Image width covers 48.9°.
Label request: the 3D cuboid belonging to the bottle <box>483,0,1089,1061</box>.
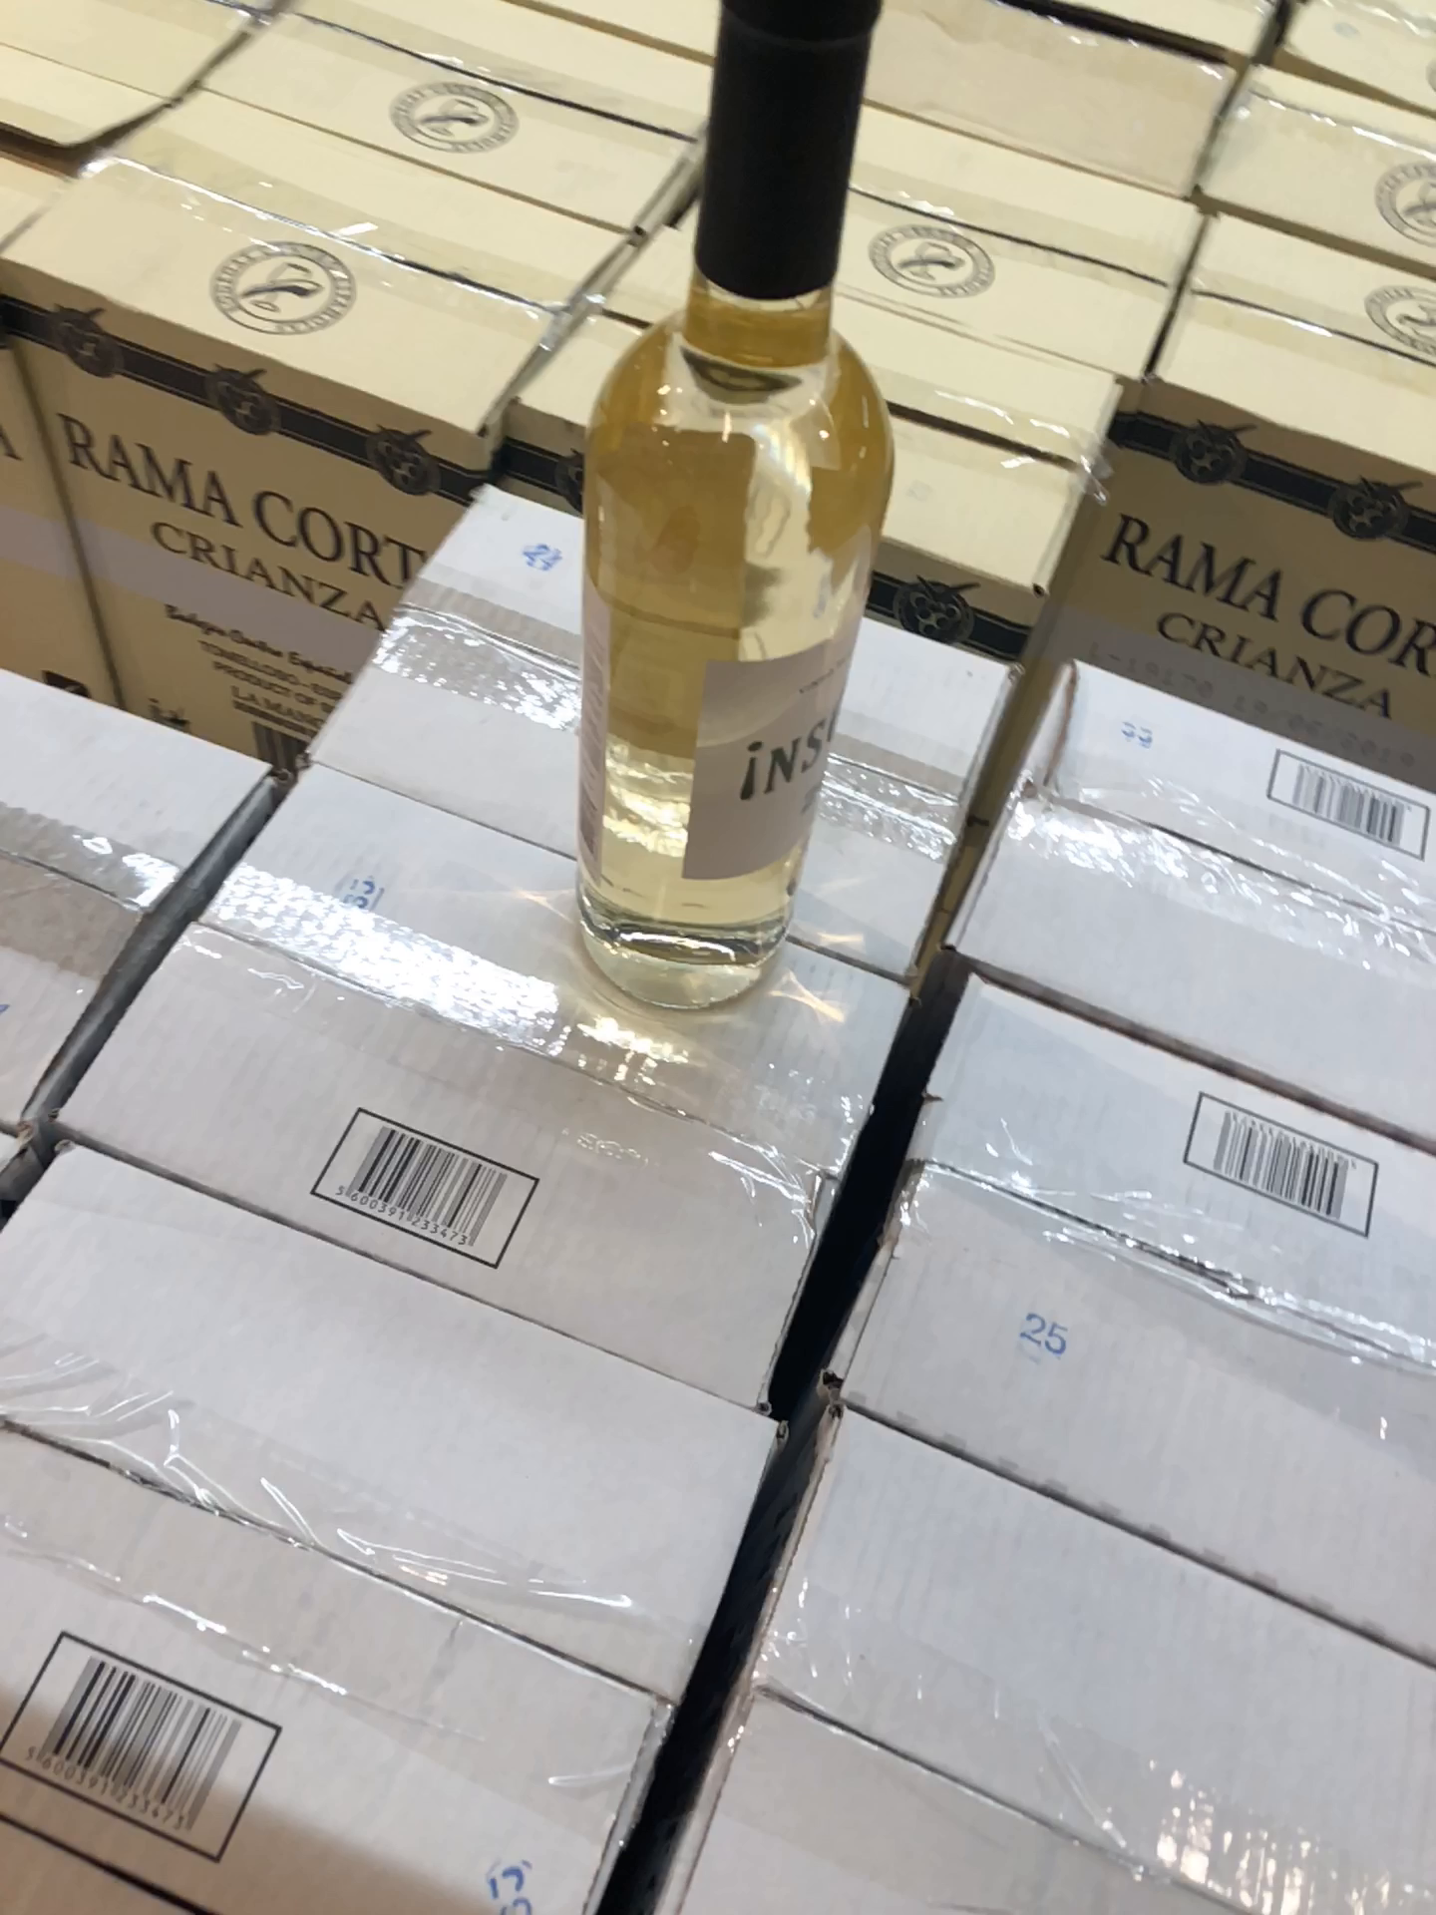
[{"bbox_3d":[-0.001,-0.099,0.399,0.090,0.298,0.091,4,55,-6],"label":"bottle"}]
